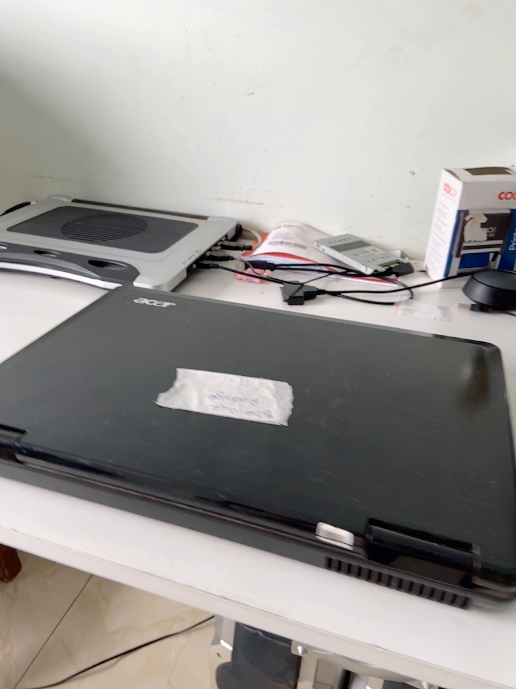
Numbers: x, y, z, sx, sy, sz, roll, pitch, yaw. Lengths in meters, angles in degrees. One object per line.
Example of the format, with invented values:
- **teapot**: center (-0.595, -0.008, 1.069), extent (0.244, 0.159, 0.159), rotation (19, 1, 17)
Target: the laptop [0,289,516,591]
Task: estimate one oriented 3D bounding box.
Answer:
- **laptop**: center (-0.006, 0.030, 0.399), extent (0.356, 0.005, 0.240), rotation (10, 30, 16)
